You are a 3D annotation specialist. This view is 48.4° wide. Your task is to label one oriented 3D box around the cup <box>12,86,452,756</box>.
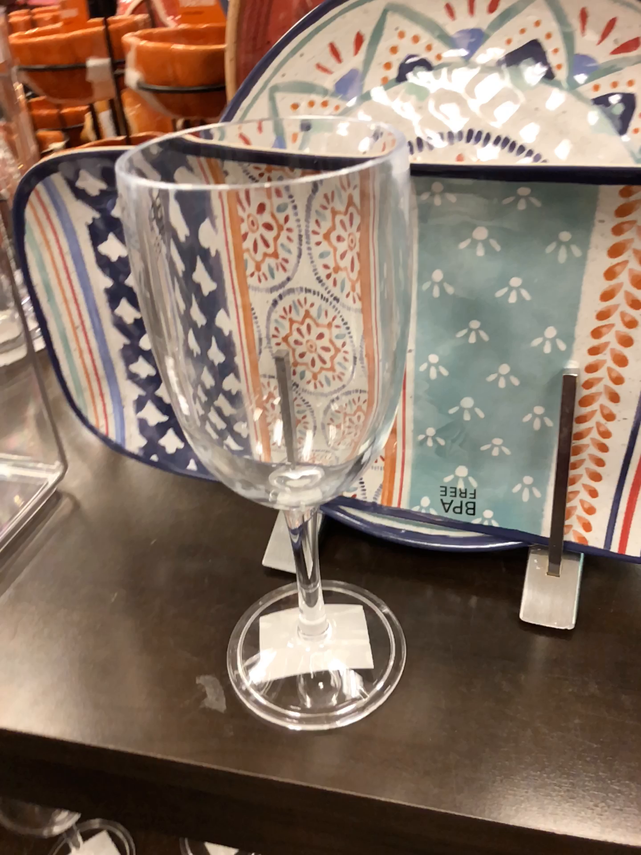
[{"bbox_3d":[-0.009,0.004,0.238,0.090,0.200,0.085,-3,33,2],"label":"cup"}]
